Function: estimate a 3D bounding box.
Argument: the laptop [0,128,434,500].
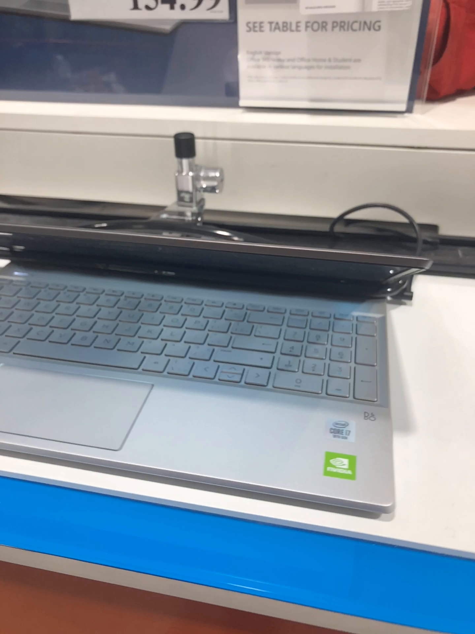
[{"bbox_3d":[-0.069,-0.032,0.366,0.347,0.124,0.216,6,35,10],"label":"laptop"}]
